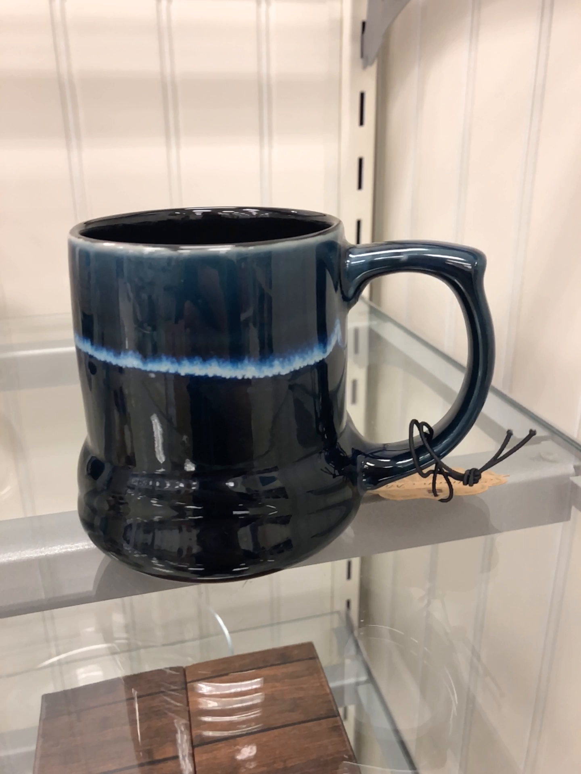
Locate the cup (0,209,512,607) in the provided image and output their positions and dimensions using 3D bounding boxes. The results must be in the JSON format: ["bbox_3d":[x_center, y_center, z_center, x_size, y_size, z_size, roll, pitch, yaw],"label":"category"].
[{"bbox_3d":[-0.012,-0.001,0.232,0.140,0.109,0.101,0,21,2],"label":"cup"}]
